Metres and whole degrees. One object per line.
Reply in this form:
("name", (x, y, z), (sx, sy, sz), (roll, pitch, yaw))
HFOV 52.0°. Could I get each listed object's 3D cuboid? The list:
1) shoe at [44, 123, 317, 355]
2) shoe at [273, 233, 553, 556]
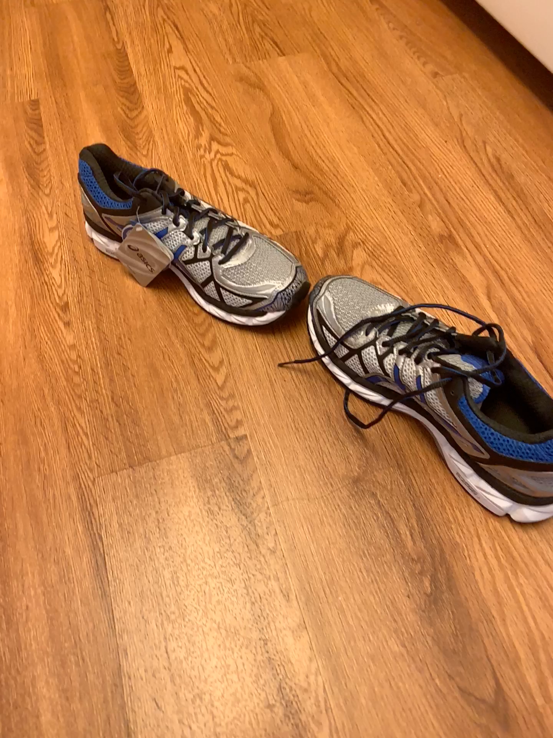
("shoe", (-0.106, -0.149, 0.625), (0.291, 0.100, 0.100), (33, 63, 20))
("shoe", (0.142, 0.013, 0.526), (0.311, 0.100, 0.100), (40, 65, 23))
